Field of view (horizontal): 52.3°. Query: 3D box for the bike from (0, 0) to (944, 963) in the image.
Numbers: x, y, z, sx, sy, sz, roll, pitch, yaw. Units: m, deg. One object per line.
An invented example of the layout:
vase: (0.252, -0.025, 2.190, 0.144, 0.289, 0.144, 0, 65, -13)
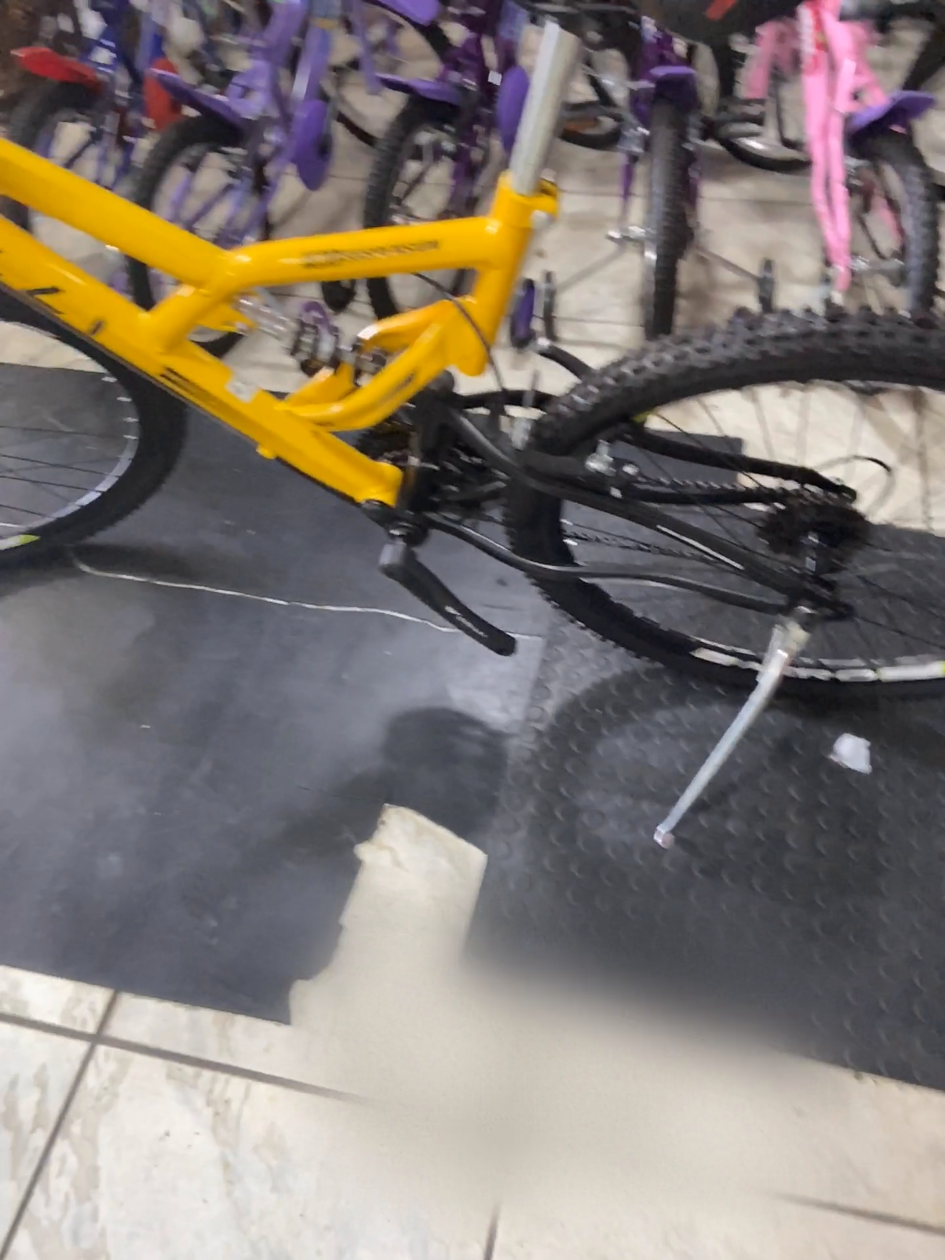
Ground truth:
bike: (-0.165, -0.241, 0.755, 1.520, 0.988, 0.477, 5, 52, 5)
